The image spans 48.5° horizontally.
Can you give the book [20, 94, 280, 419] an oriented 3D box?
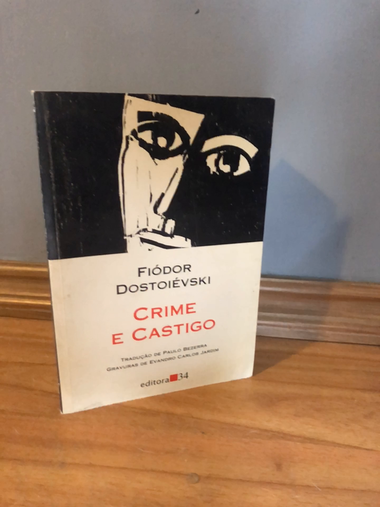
[{"bbox_3d":[-0.027,0.001,0.322,0.170,0.222,0.045,-5,18,-19],"label":"book"}]
